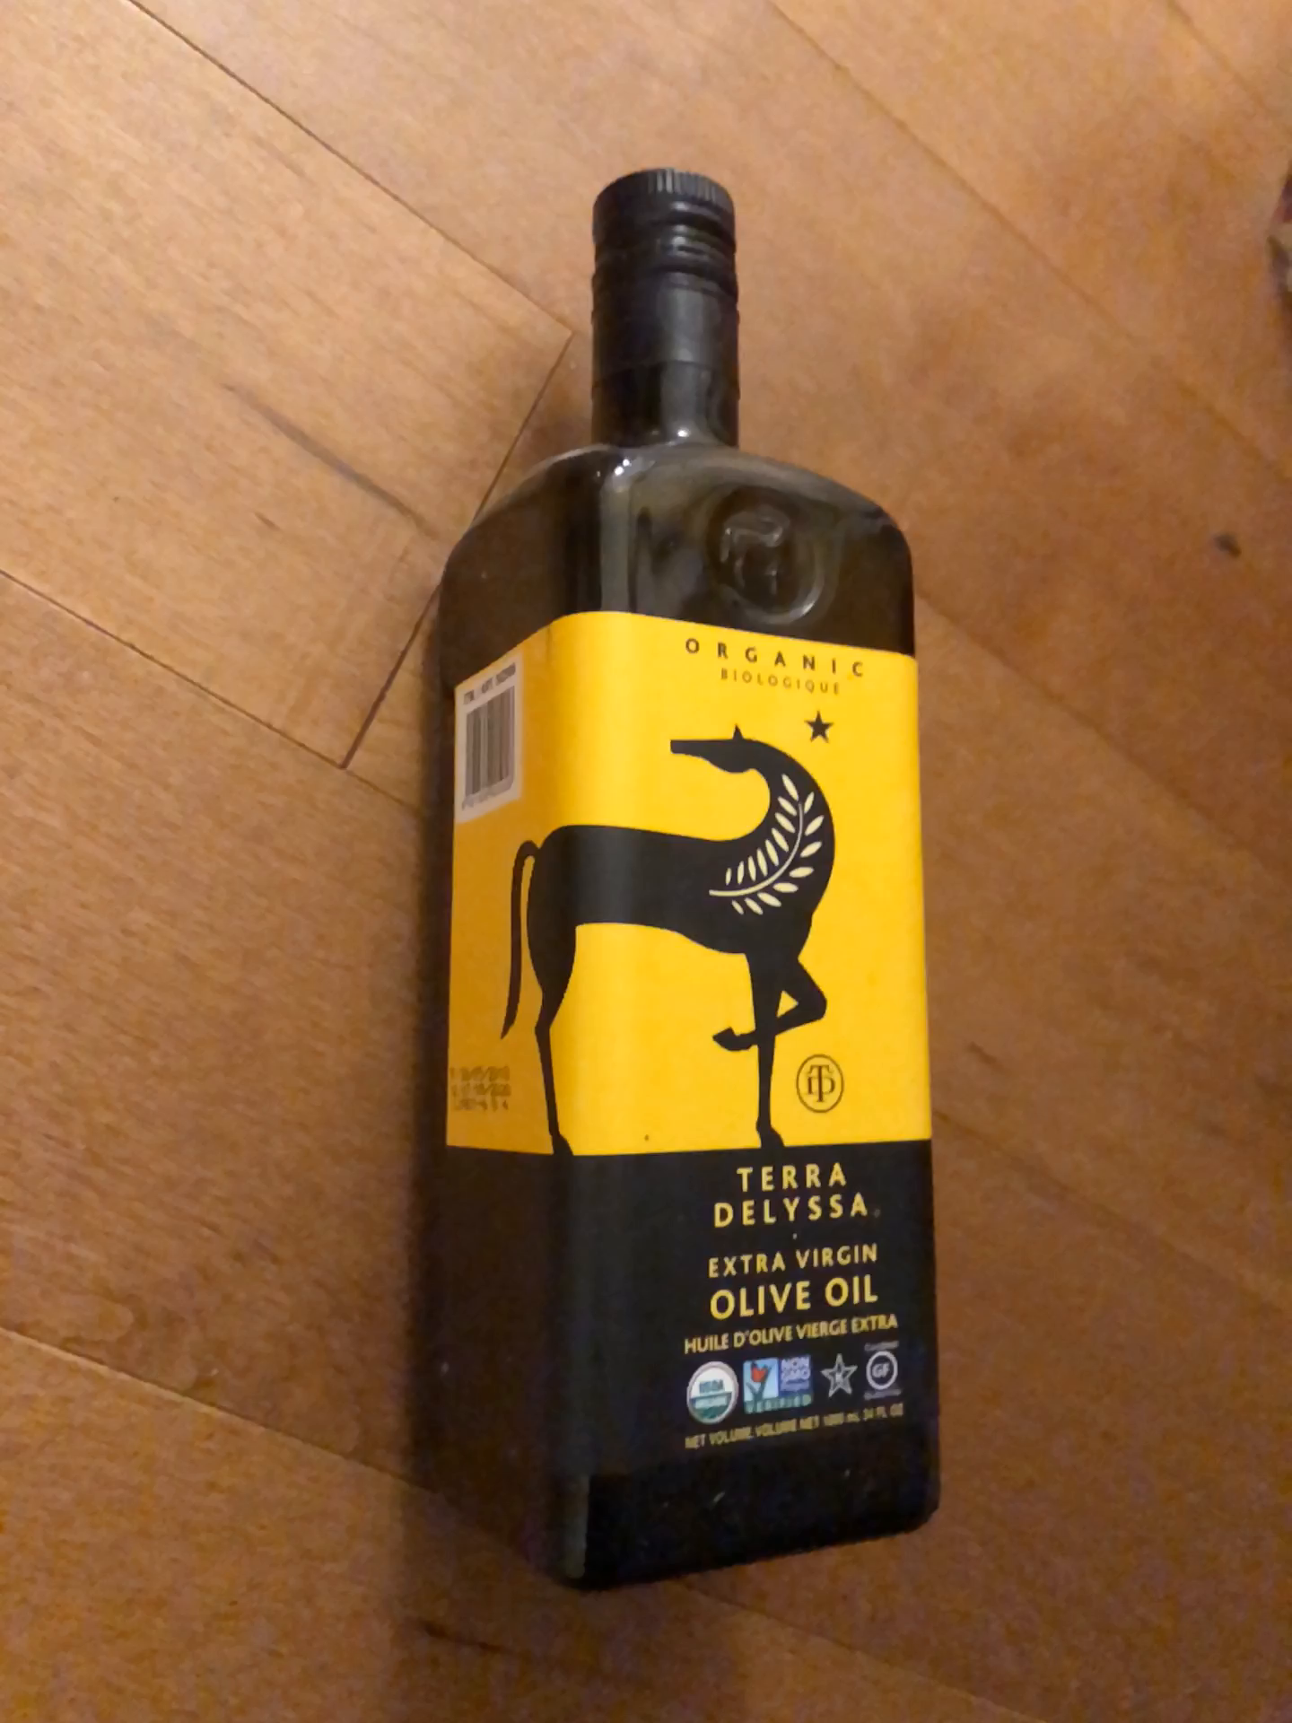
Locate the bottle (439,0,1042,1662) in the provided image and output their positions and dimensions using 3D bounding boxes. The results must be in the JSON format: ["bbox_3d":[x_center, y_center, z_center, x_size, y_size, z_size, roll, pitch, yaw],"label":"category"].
[{"bbox_3d":[0.014,-0.011,0.276,0.090,0.060,0.270,3,81,-28],"label":"bottle"}]
